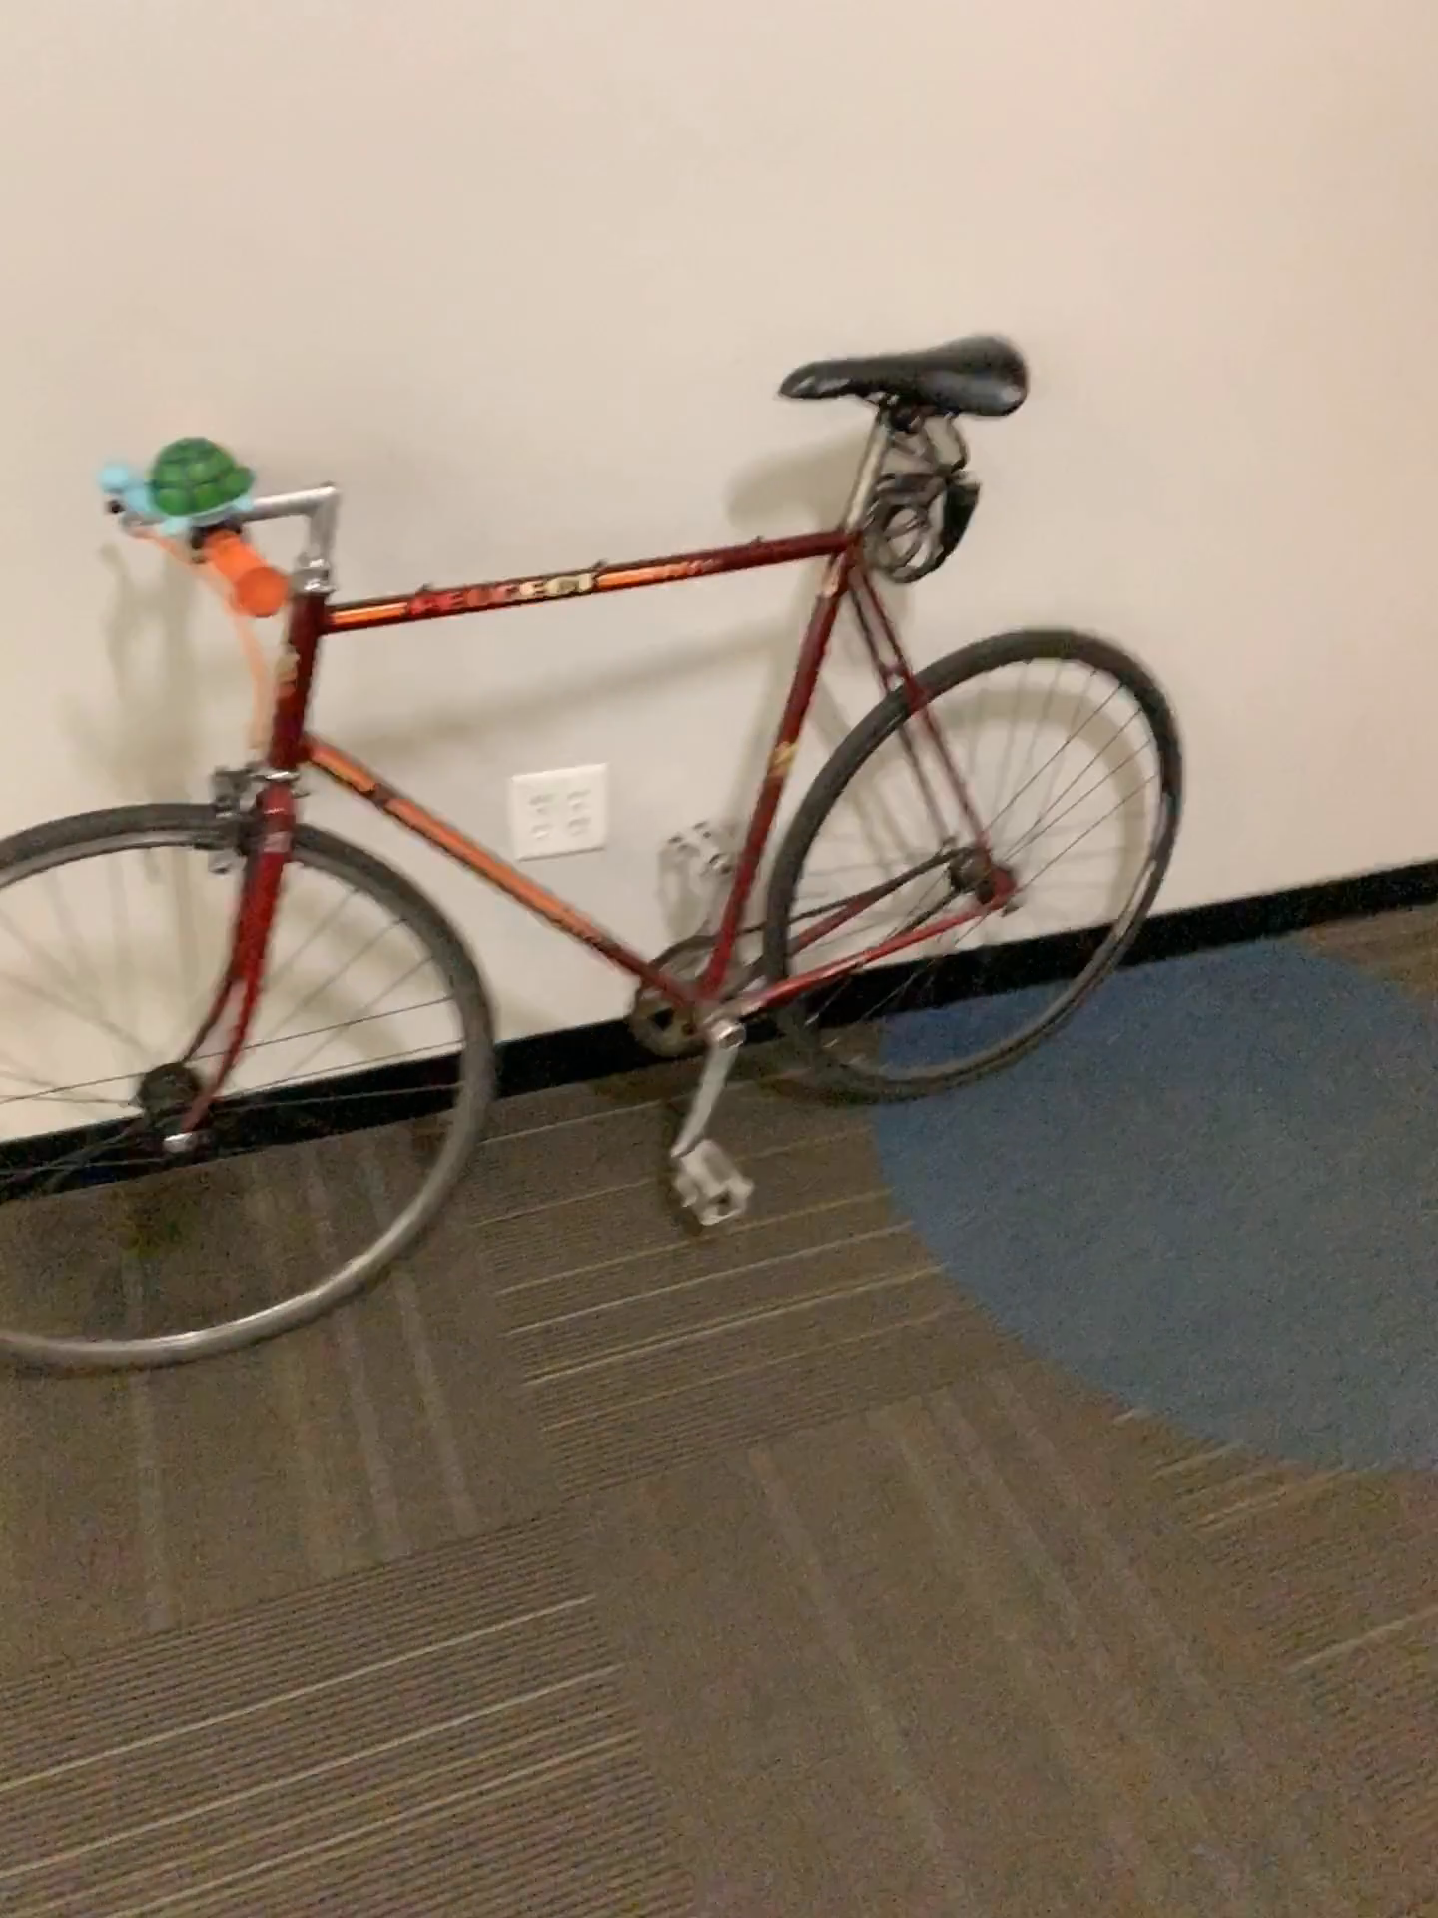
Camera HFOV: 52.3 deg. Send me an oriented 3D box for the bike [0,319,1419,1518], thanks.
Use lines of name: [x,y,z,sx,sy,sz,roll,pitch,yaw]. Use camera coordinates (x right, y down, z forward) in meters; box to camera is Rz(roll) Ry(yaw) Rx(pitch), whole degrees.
bike: [-0.116,-0.135,1.637,1.625,0.909,0.451,-15,40,-24]
